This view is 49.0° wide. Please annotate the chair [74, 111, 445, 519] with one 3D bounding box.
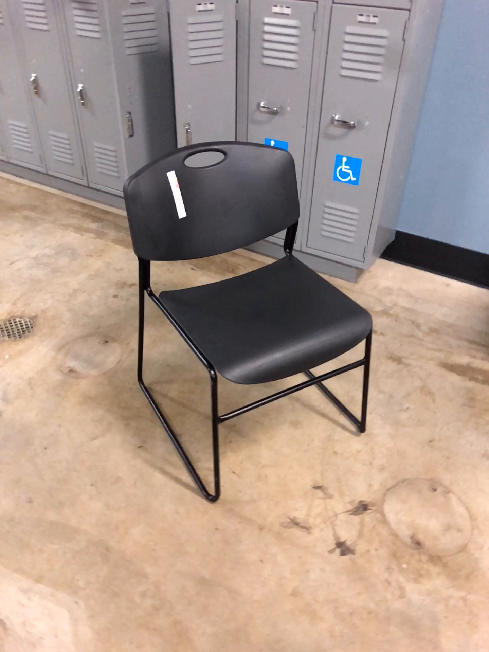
[{"bbox_3d":[-0.004,-0.058,1.290,0.544,0.665,0.548,-19,44,-24],"label":"chair"}]
